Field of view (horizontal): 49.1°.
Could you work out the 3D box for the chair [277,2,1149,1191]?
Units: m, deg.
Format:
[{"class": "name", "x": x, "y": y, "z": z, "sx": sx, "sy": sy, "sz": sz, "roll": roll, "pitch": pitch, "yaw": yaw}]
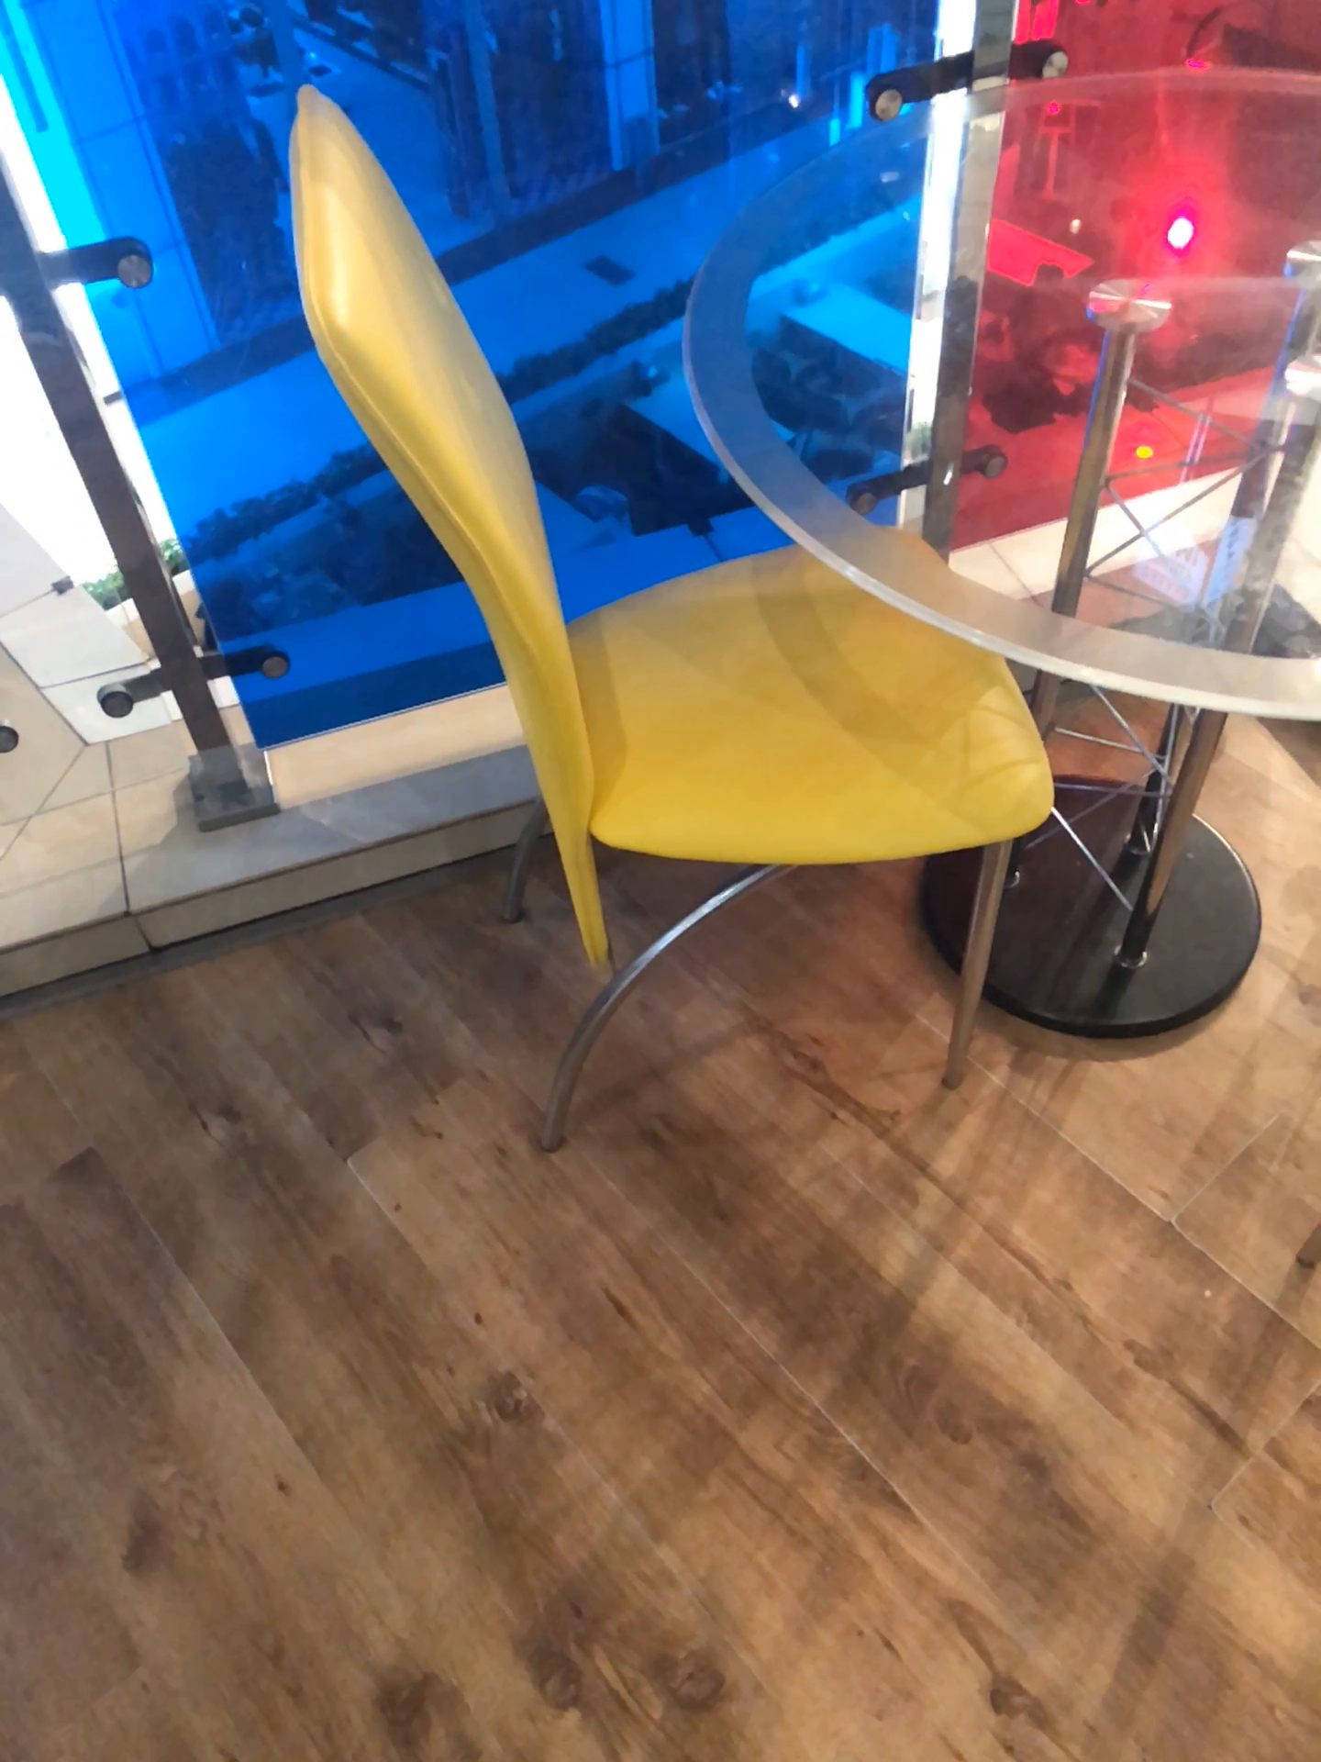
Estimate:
[{"class": "chair", "x": 0.024, "y": -0.176, "z": 1.287, "sx": 0.490, "sy": 0.897, "sz": 0.431, "roll": -10, "pitch": 50, "yaw": -4}]
